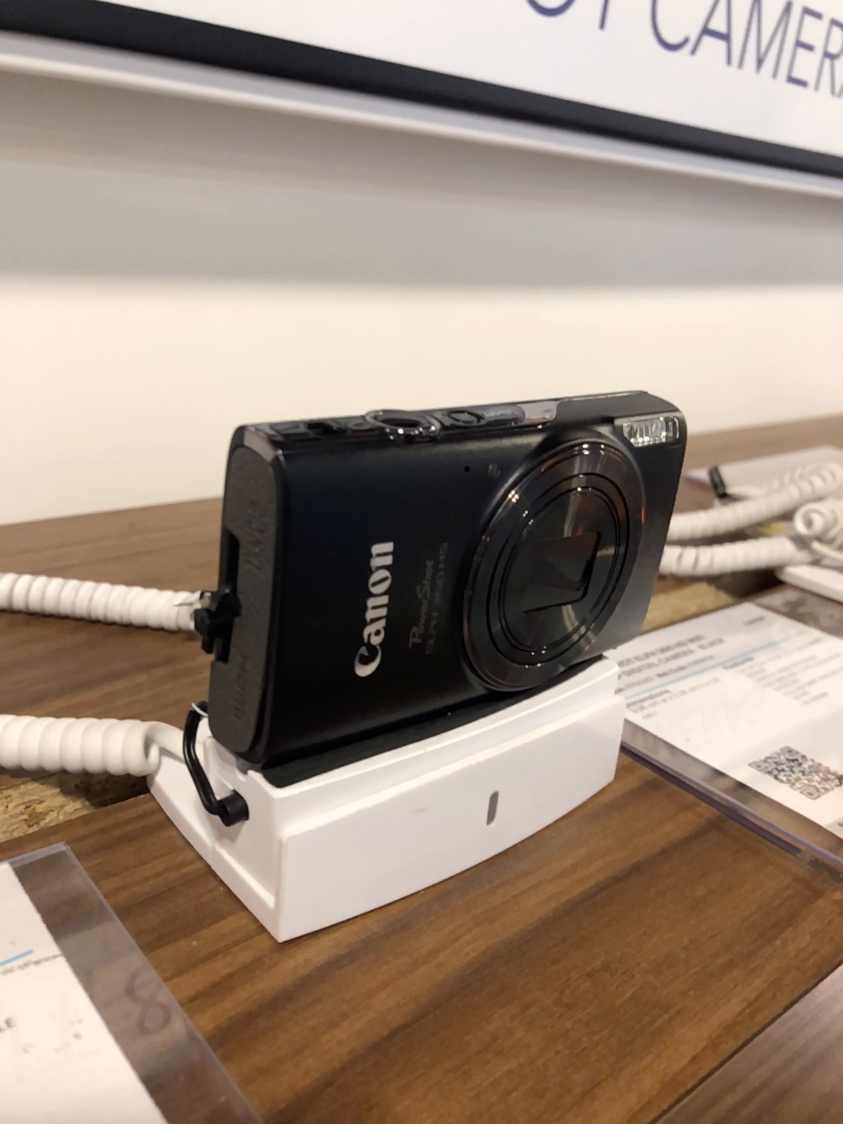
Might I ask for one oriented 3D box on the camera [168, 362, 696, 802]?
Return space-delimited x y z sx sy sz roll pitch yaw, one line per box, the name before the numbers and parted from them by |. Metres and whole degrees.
camera | 0.006 -0.004 0.178 0.100 0.060 0.030 -12 25 -40
